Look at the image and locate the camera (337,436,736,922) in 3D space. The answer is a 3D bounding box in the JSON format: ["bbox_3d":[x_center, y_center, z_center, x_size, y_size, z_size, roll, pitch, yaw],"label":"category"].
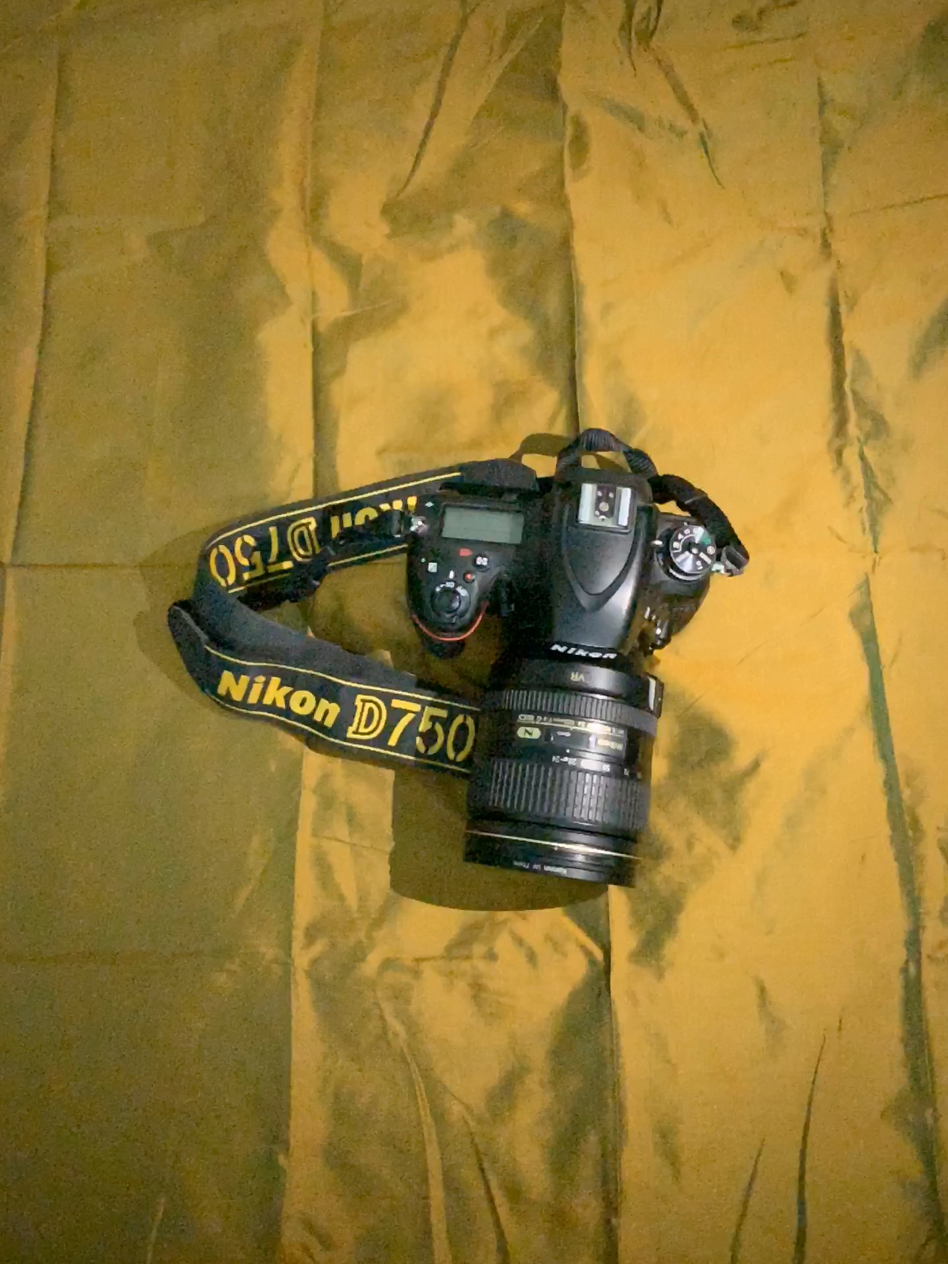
[{"bbox_3d":[0.030,0.025,0.447,0.150,0.101,0.190,5,76,2],"label":"camera"}]
